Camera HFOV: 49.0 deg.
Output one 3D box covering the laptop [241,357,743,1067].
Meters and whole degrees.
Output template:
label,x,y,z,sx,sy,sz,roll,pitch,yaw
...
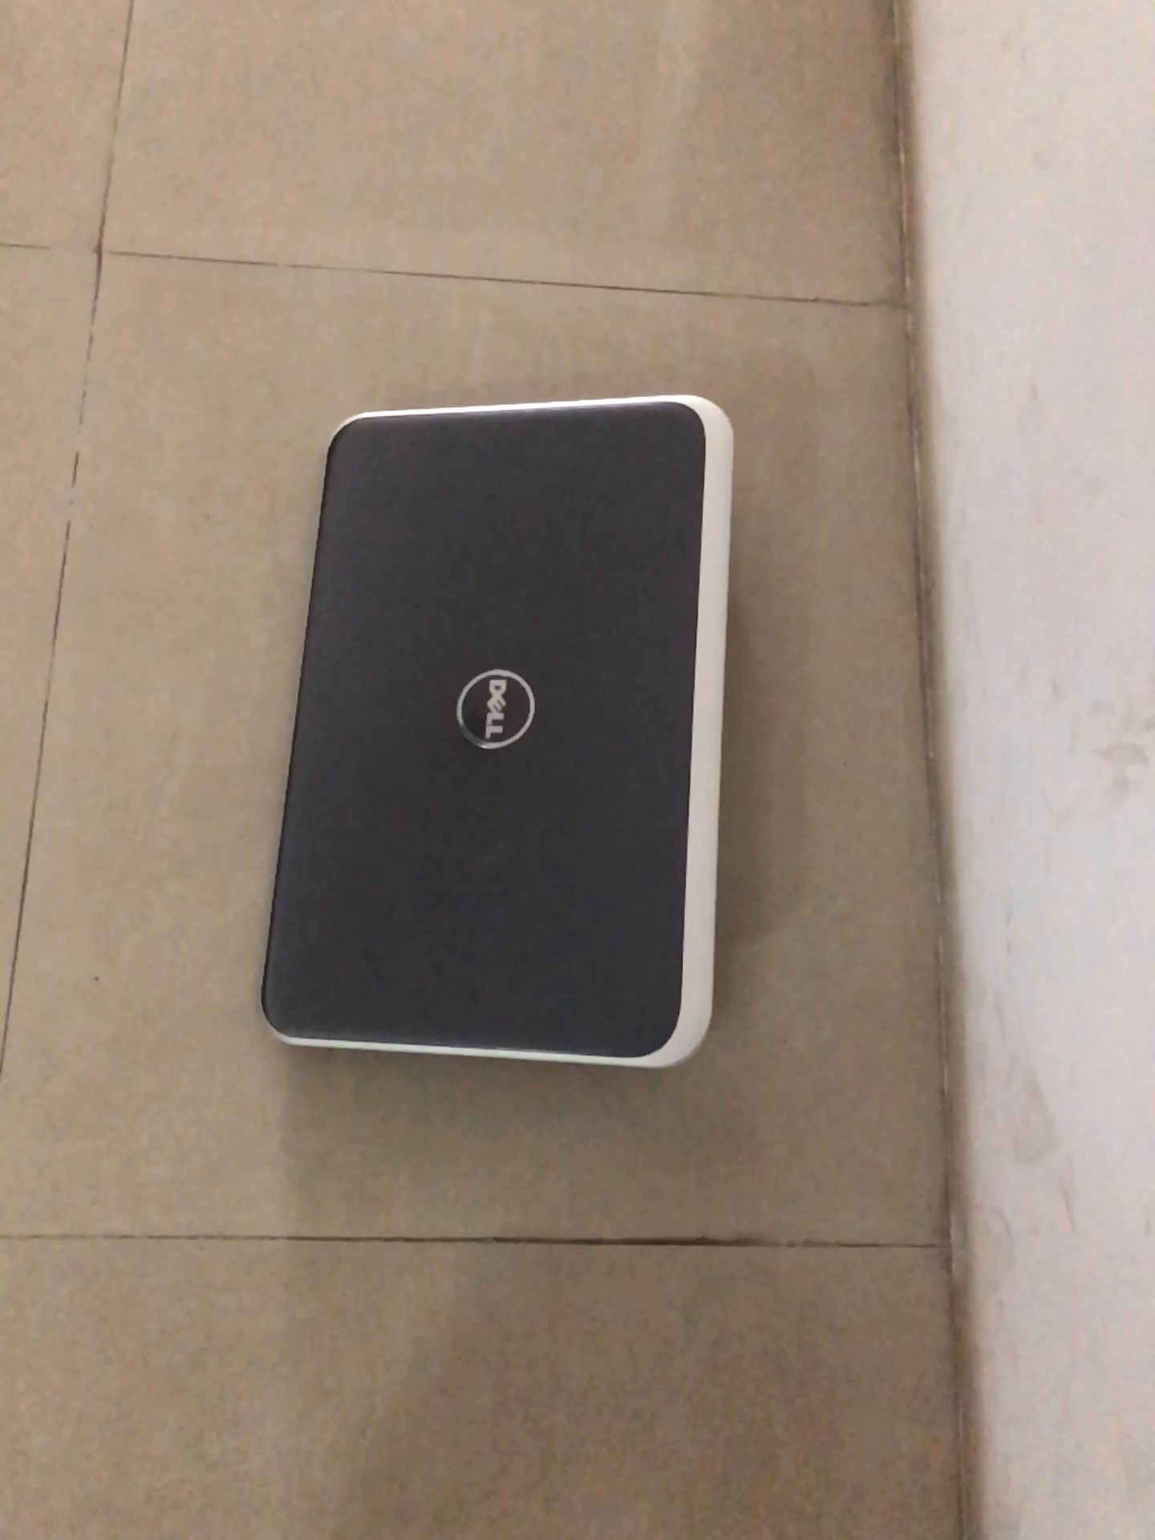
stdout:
label,x,y,z,sx,sy,sz,roll,pitch,yaw
laptop,-0.040,-0.031,0.700,0.234,0.080,0.360,4,79,-2
